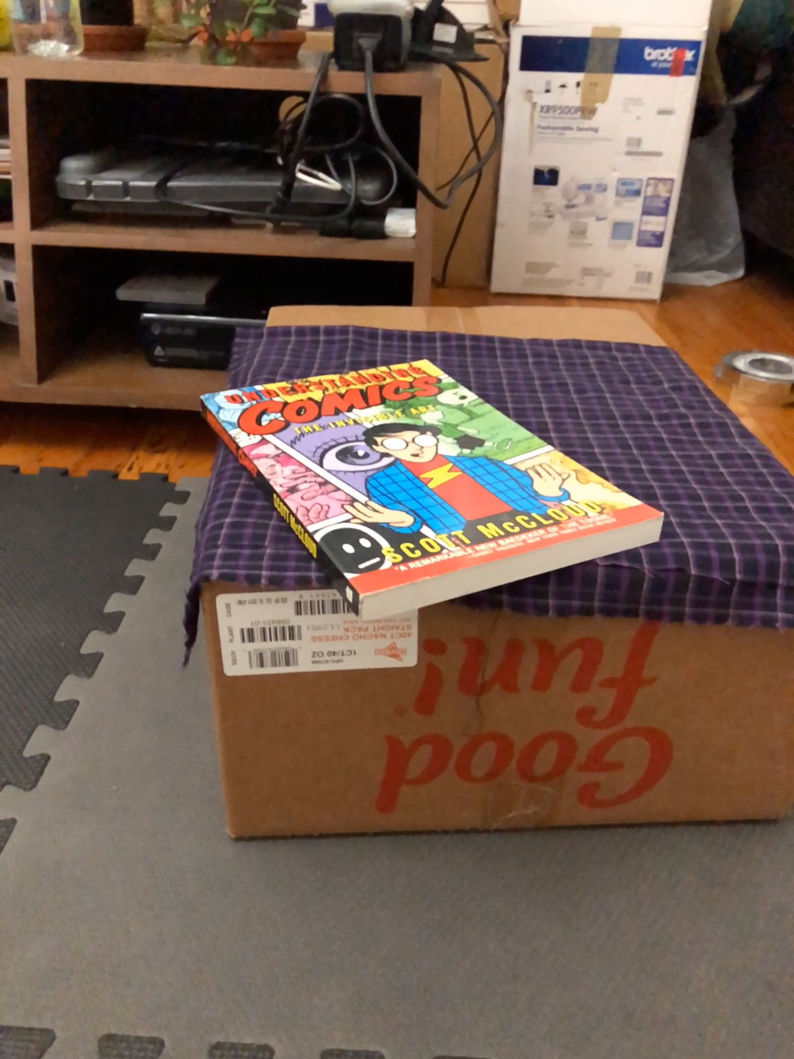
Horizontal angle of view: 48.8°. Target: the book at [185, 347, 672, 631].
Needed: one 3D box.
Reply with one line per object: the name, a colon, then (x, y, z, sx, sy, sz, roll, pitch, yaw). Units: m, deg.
book: (-0.002, -0.045, 0.505, 0.170, 0.020, 0.271, -13, 33, -24)
